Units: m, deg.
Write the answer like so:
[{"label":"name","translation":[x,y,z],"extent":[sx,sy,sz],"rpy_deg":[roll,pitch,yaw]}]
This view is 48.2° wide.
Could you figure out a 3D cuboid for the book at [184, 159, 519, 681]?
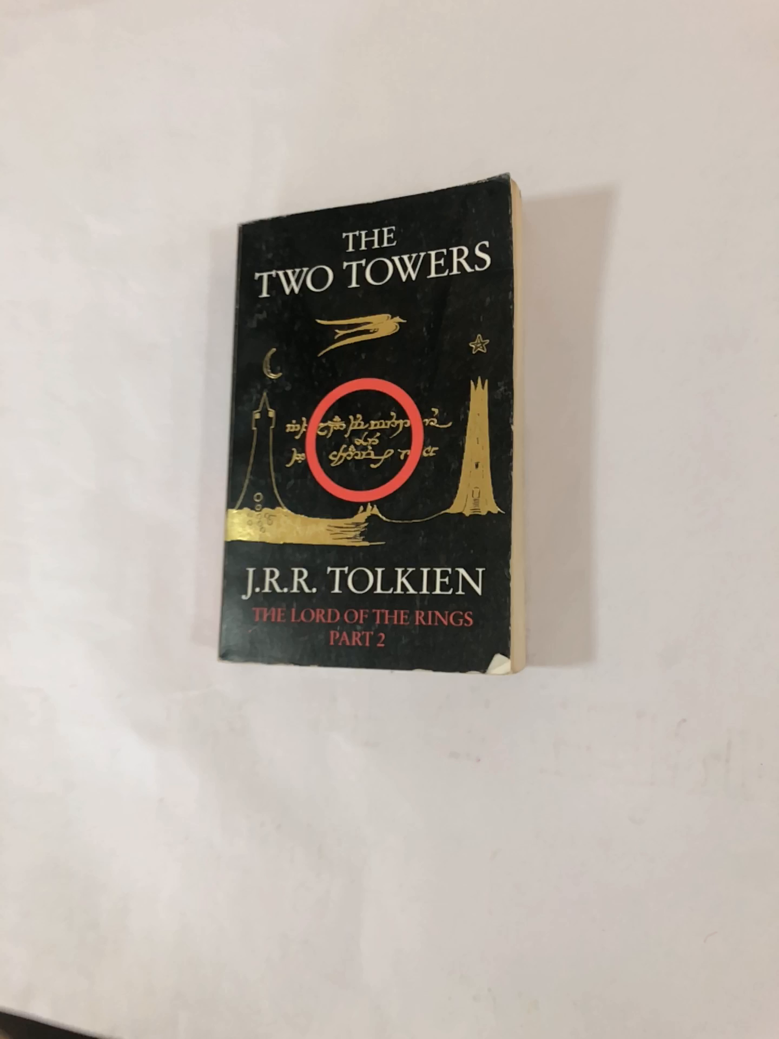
[{"label":"book","translation":[-0.014,-0.038,0.360],"extent":[0.130,0.030,0.200],"rpy_deg":[-1,81,19]}]
